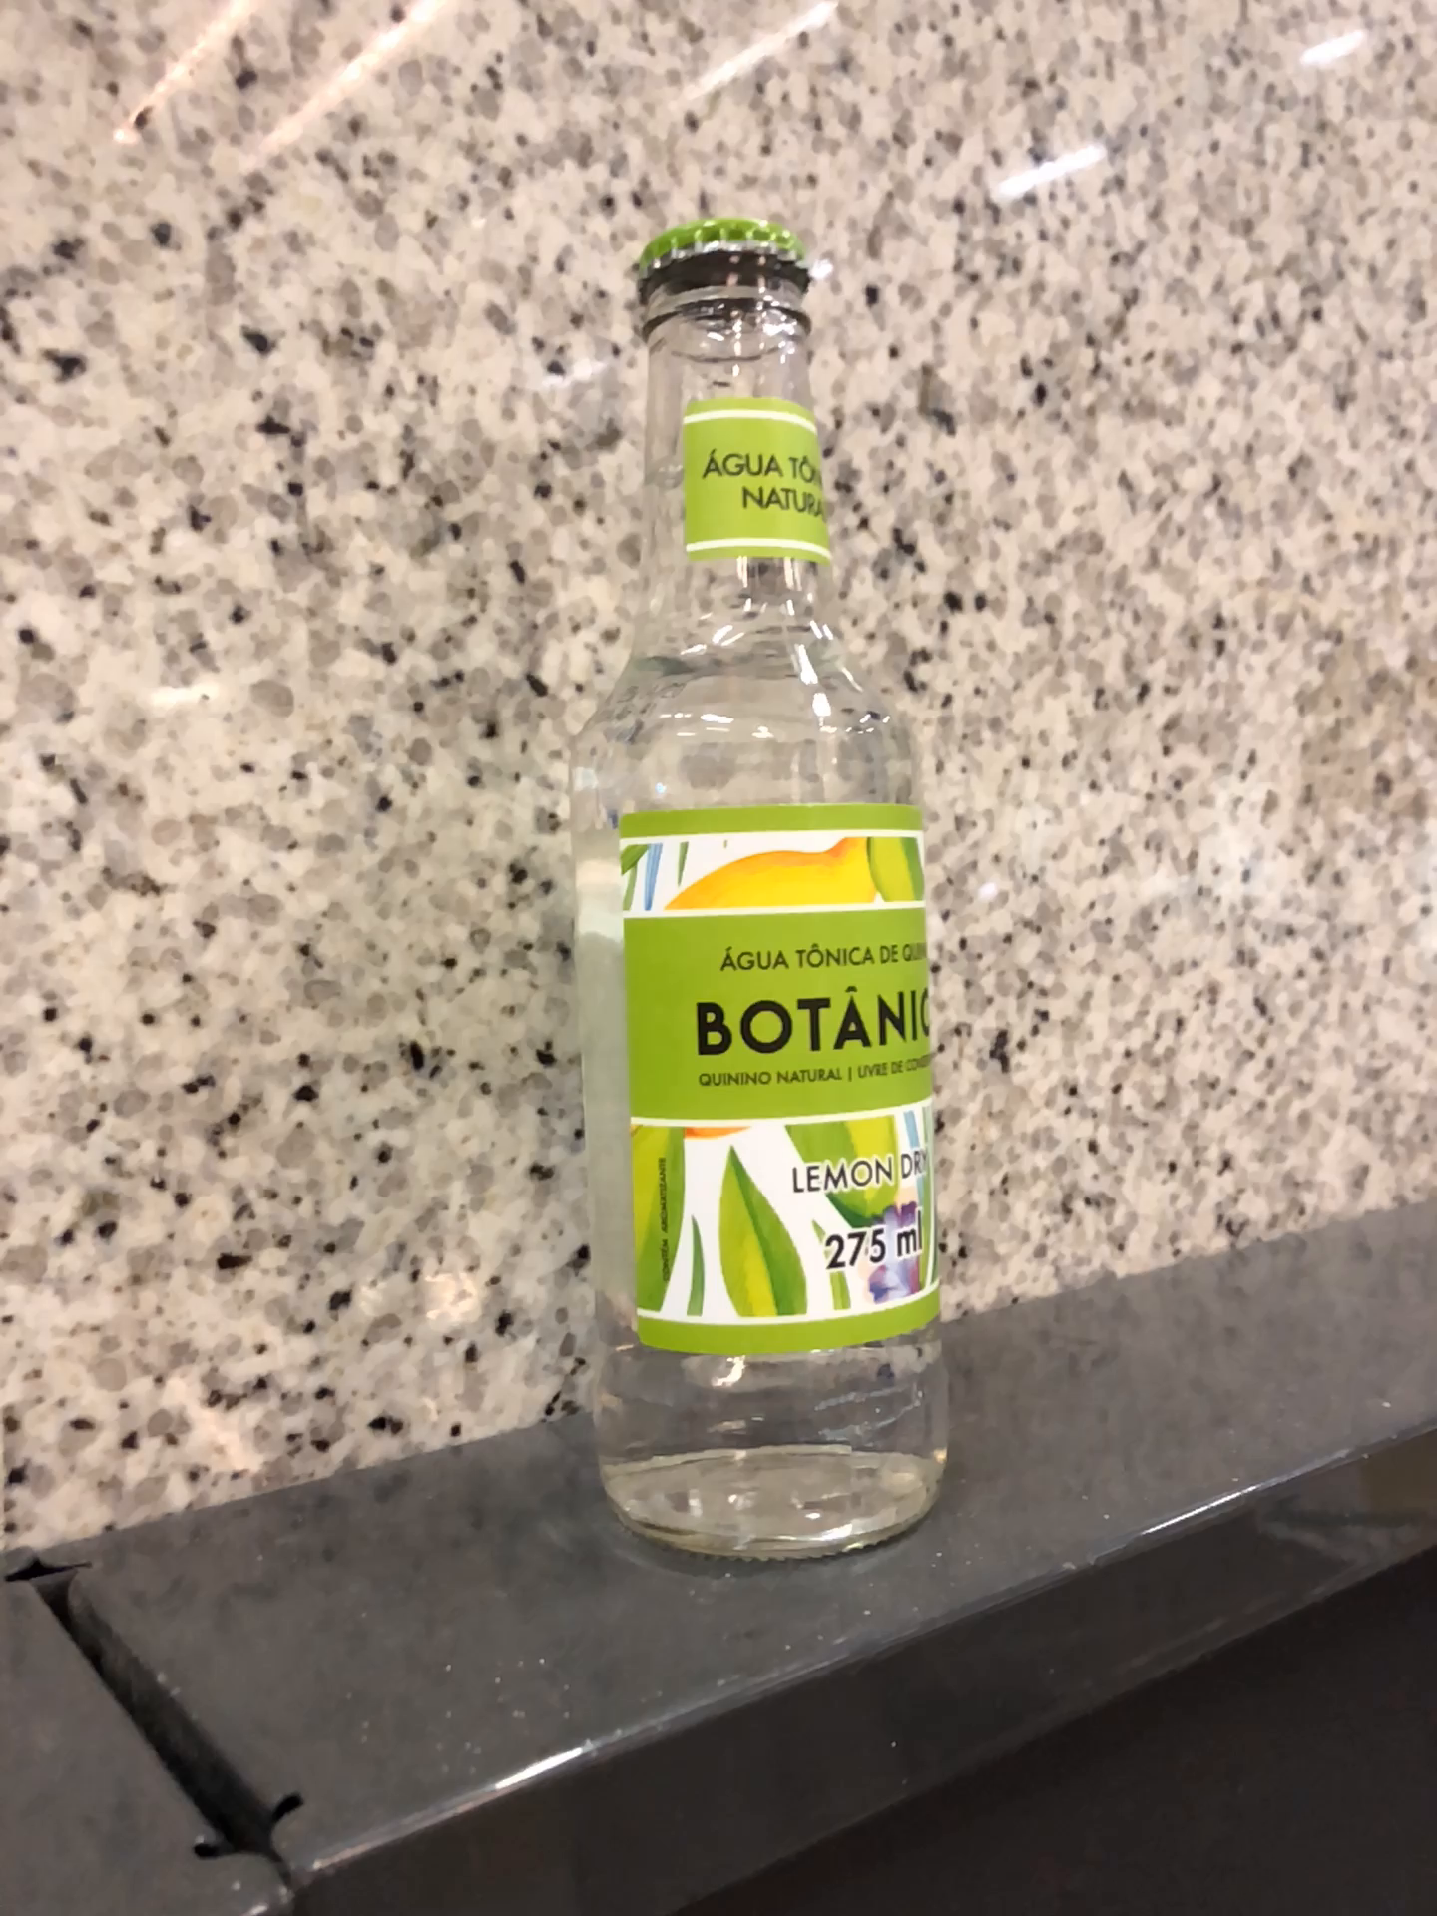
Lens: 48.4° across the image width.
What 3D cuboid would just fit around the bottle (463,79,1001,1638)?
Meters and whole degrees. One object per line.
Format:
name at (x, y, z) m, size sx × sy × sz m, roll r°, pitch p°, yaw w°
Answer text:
bottle at (0.002, -0.014, 0.258) m, size 0.060 × 0.210 × 0.060 m, roll 0°, pitch 3°, yaw 0°
